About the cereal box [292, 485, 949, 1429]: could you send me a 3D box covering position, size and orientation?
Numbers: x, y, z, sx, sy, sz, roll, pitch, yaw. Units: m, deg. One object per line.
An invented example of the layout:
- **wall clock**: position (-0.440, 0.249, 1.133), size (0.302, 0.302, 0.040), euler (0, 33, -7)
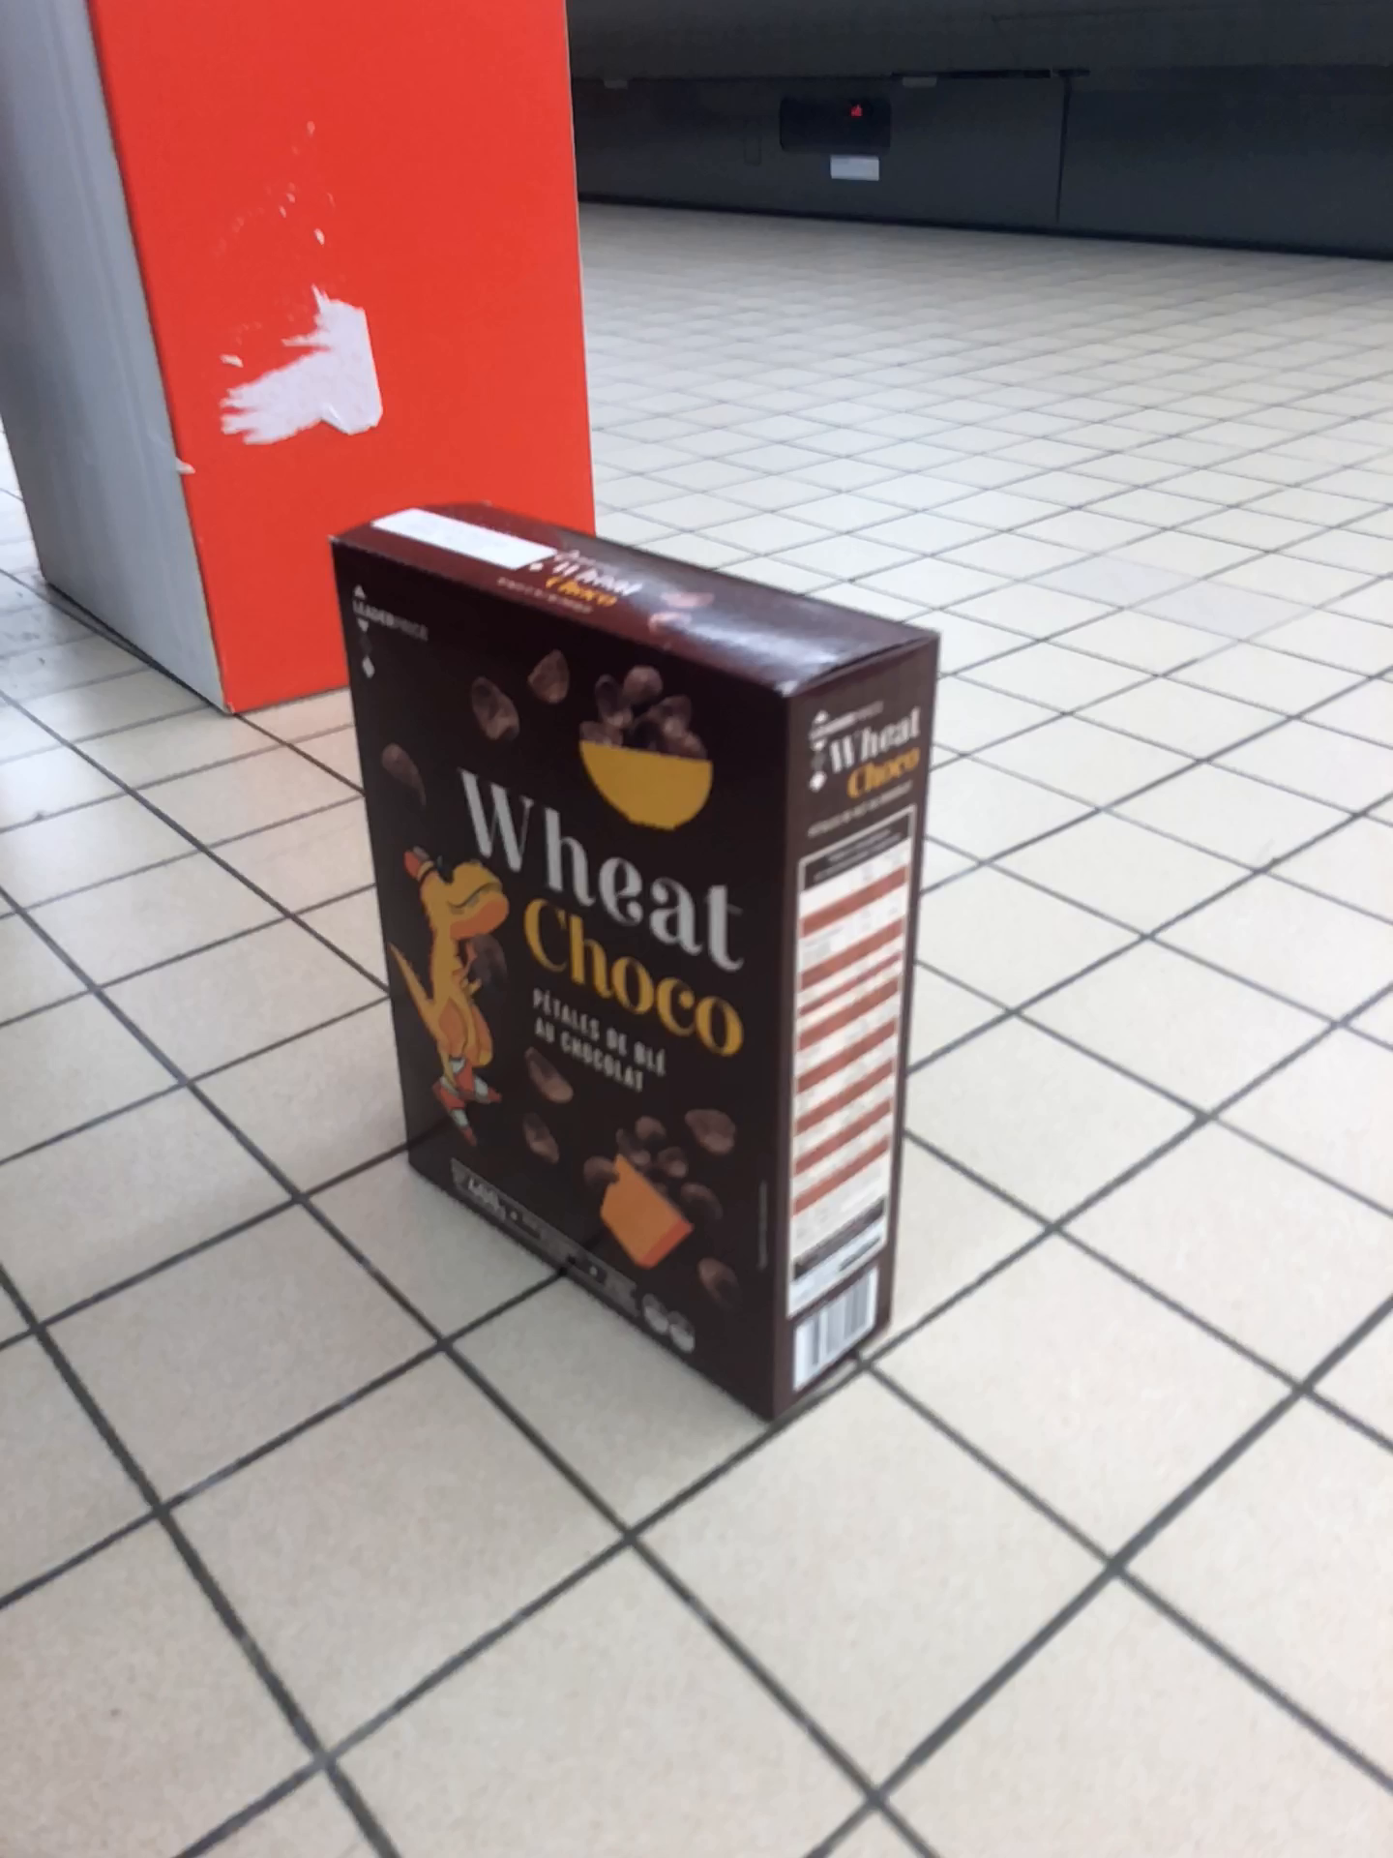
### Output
- **cereal box**: position (-0.028, 0.003, 0.498), size (0.200, 0.249, 0.070), euler (25, 39, 37)
